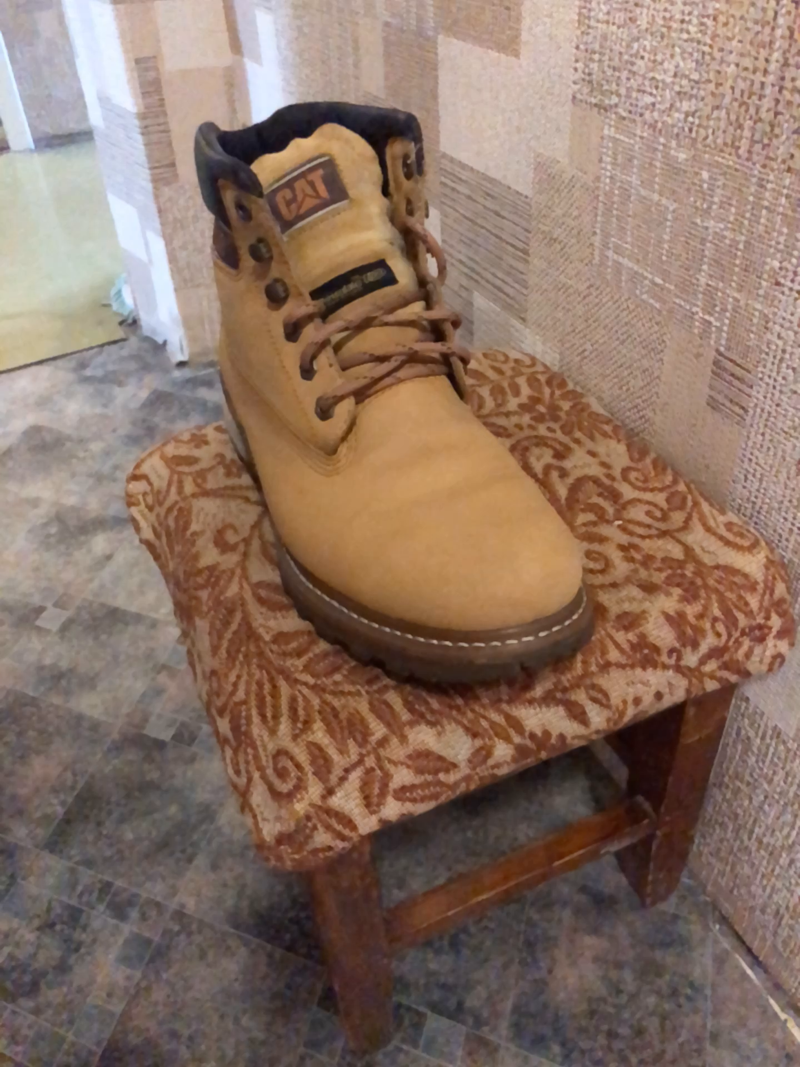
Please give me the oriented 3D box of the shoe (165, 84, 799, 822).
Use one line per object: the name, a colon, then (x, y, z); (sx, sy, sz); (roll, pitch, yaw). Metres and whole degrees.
shoe: (0.011, -0.063, 0.404); (0.130, 0.189, 0.291); (-18, 42, -19)
